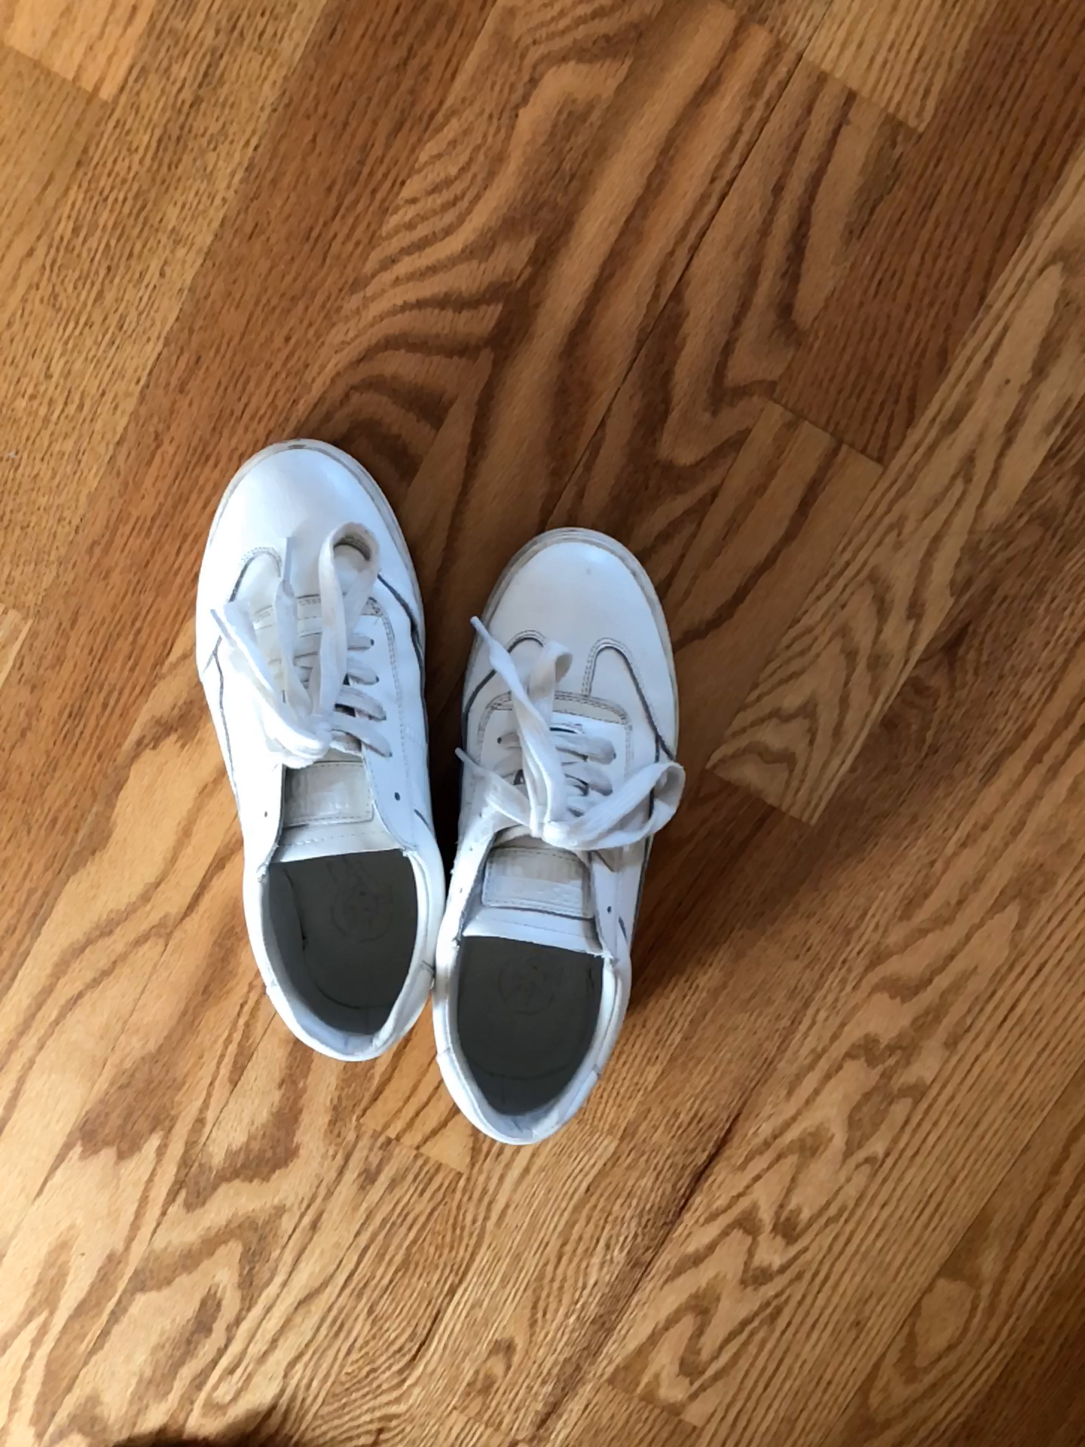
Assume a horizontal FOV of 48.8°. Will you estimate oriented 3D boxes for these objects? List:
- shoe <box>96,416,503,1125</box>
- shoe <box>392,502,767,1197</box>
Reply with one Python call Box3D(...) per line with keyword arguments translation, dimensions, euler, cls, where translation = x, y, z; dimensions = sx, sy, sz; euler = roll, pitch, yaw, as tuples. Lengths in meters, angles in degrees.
Box3D(translation=(-0.088, 0.015, 0.498), dimensions=(0.102, 0.104, 0.260), euler=(-9, 102, 1), cls="shoe")
Box3D(translation=(0.009, 0.046, 0.504), dimensions=(0.102, 0.107, 0.260), euler=(8, 101, -3), cls="shoe")
